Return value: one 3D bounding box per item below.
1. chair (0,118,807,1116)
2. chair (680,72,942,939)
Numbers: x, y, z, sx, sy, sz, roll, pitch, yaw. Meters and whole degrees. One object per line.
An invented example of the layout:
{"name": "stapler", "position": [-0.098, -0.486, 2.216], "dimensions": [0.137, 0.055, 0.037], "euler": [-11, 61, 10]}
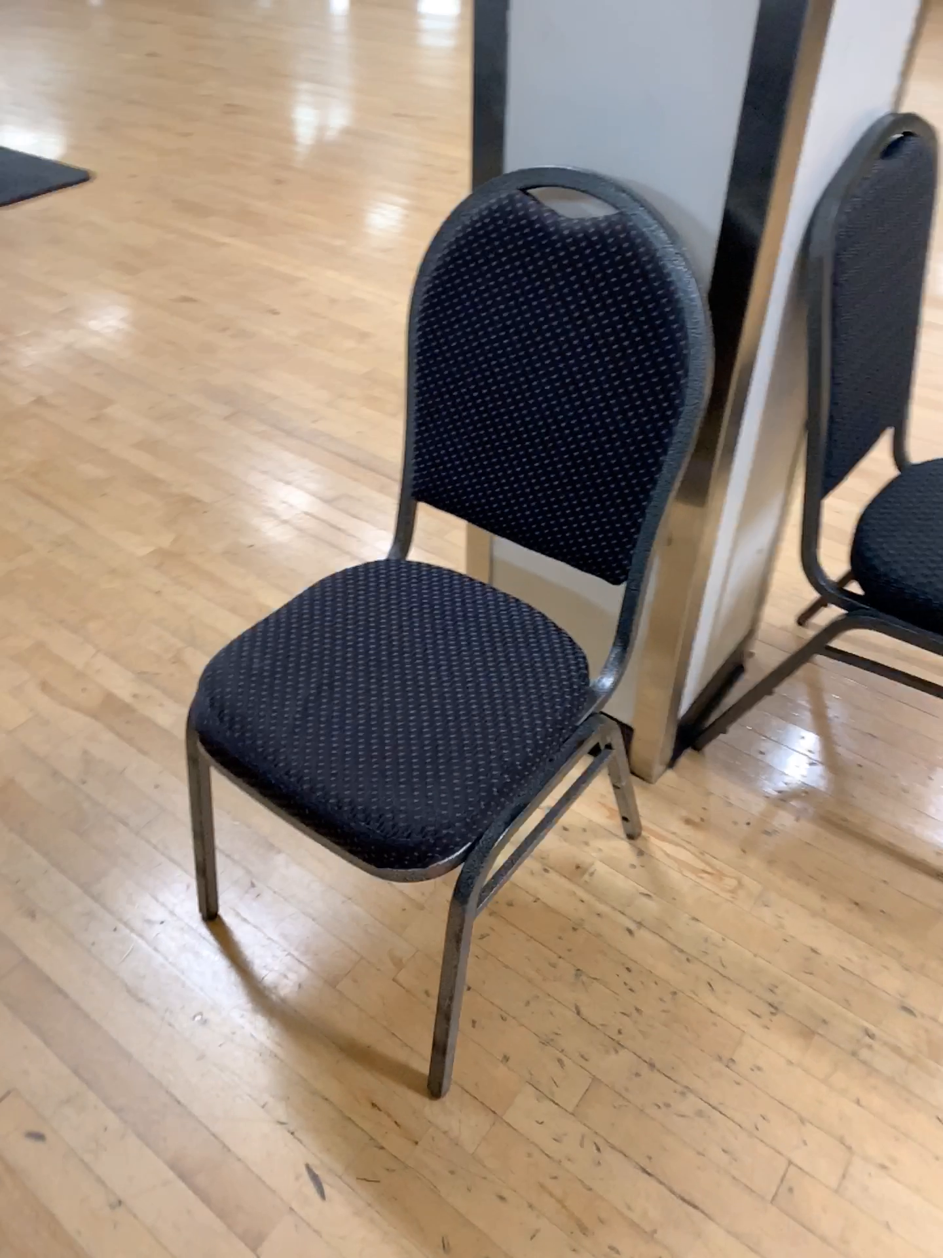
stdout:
{"name": "chair", "position": [-0.047, 0.003, 1.118], "dimensions": [0.462, 0.921, 0.555], "euler": [27, 48, 27]}
{"name": "chair", "position": [0.712, -0.150, 1.289], "dimensions": [0.554, 0.921, 0.463], "euler": [29, 49, 28]}
